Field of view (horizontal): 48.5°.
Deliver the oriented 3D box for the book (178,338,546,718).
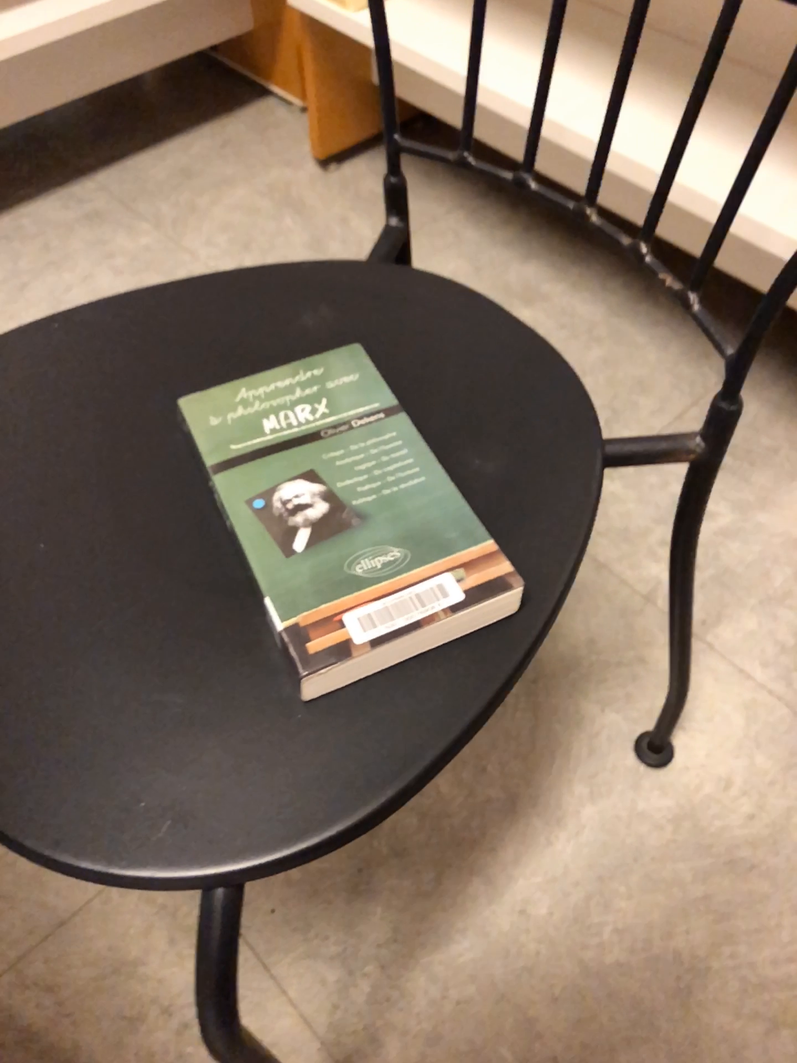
[{"bbox_3d":[-0.024,-0.013,0.415,0.110,0.024,0.177,-20,54,-13],"label":"book"}]
